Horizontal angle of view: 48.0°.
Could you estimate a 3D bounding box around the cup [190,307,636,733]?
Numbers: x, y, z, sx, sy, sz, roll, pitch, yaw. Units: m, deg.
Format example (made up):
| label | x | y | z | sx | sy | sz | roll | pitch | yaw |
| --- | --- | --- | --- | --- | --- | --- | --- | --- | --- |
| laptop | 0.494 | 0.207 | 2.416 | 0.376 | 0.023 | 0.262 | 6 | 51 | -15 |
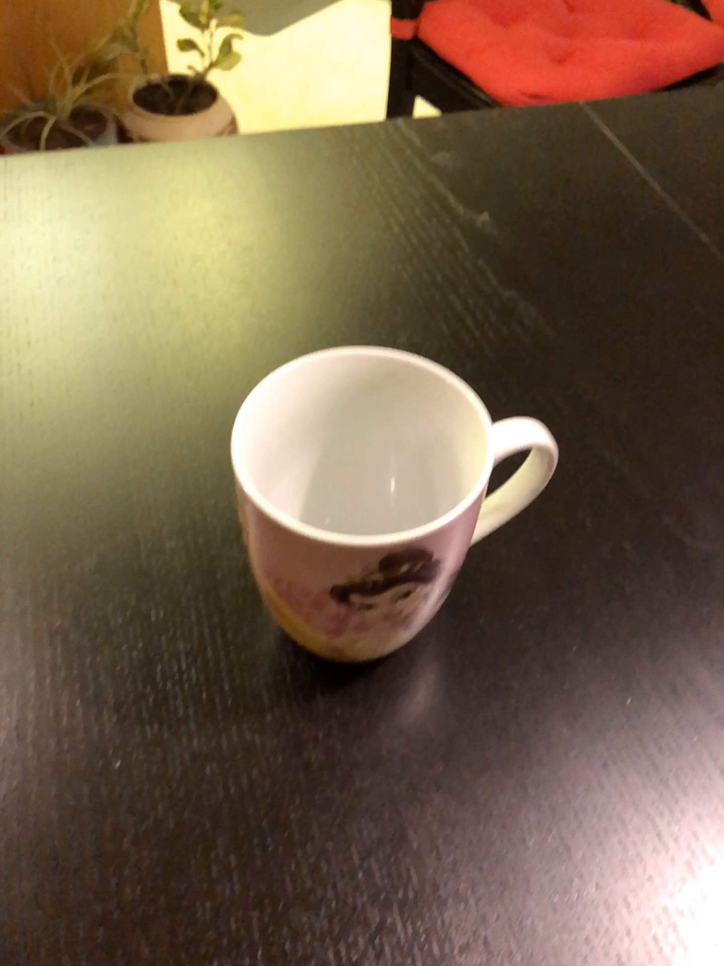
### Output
| label | x | y | z | sx | sy | sz | roll | pitch | yaw |
| --- | --- | --- | --- | --- | --- | --- | --- | --- | --- |
| cup | 0.011 | 0.013 | 0.303 | 0.120 | 0.100 | 0.090 | -15 | 53 | -15 |
